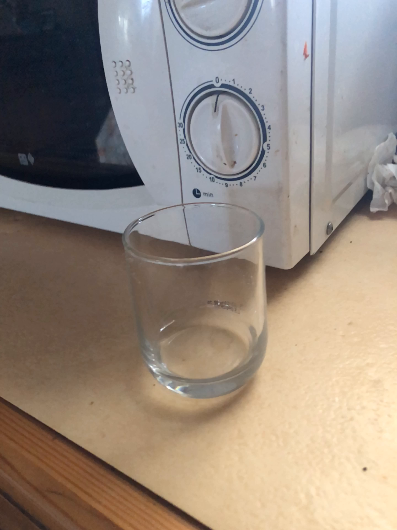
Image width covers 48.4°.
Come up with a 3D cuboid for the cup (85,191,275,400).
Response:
[{"bbox_3d":[-0.002,0.012,0.211,0.070,0.070,0.070,-5,29,3],"label":"cup"}]
